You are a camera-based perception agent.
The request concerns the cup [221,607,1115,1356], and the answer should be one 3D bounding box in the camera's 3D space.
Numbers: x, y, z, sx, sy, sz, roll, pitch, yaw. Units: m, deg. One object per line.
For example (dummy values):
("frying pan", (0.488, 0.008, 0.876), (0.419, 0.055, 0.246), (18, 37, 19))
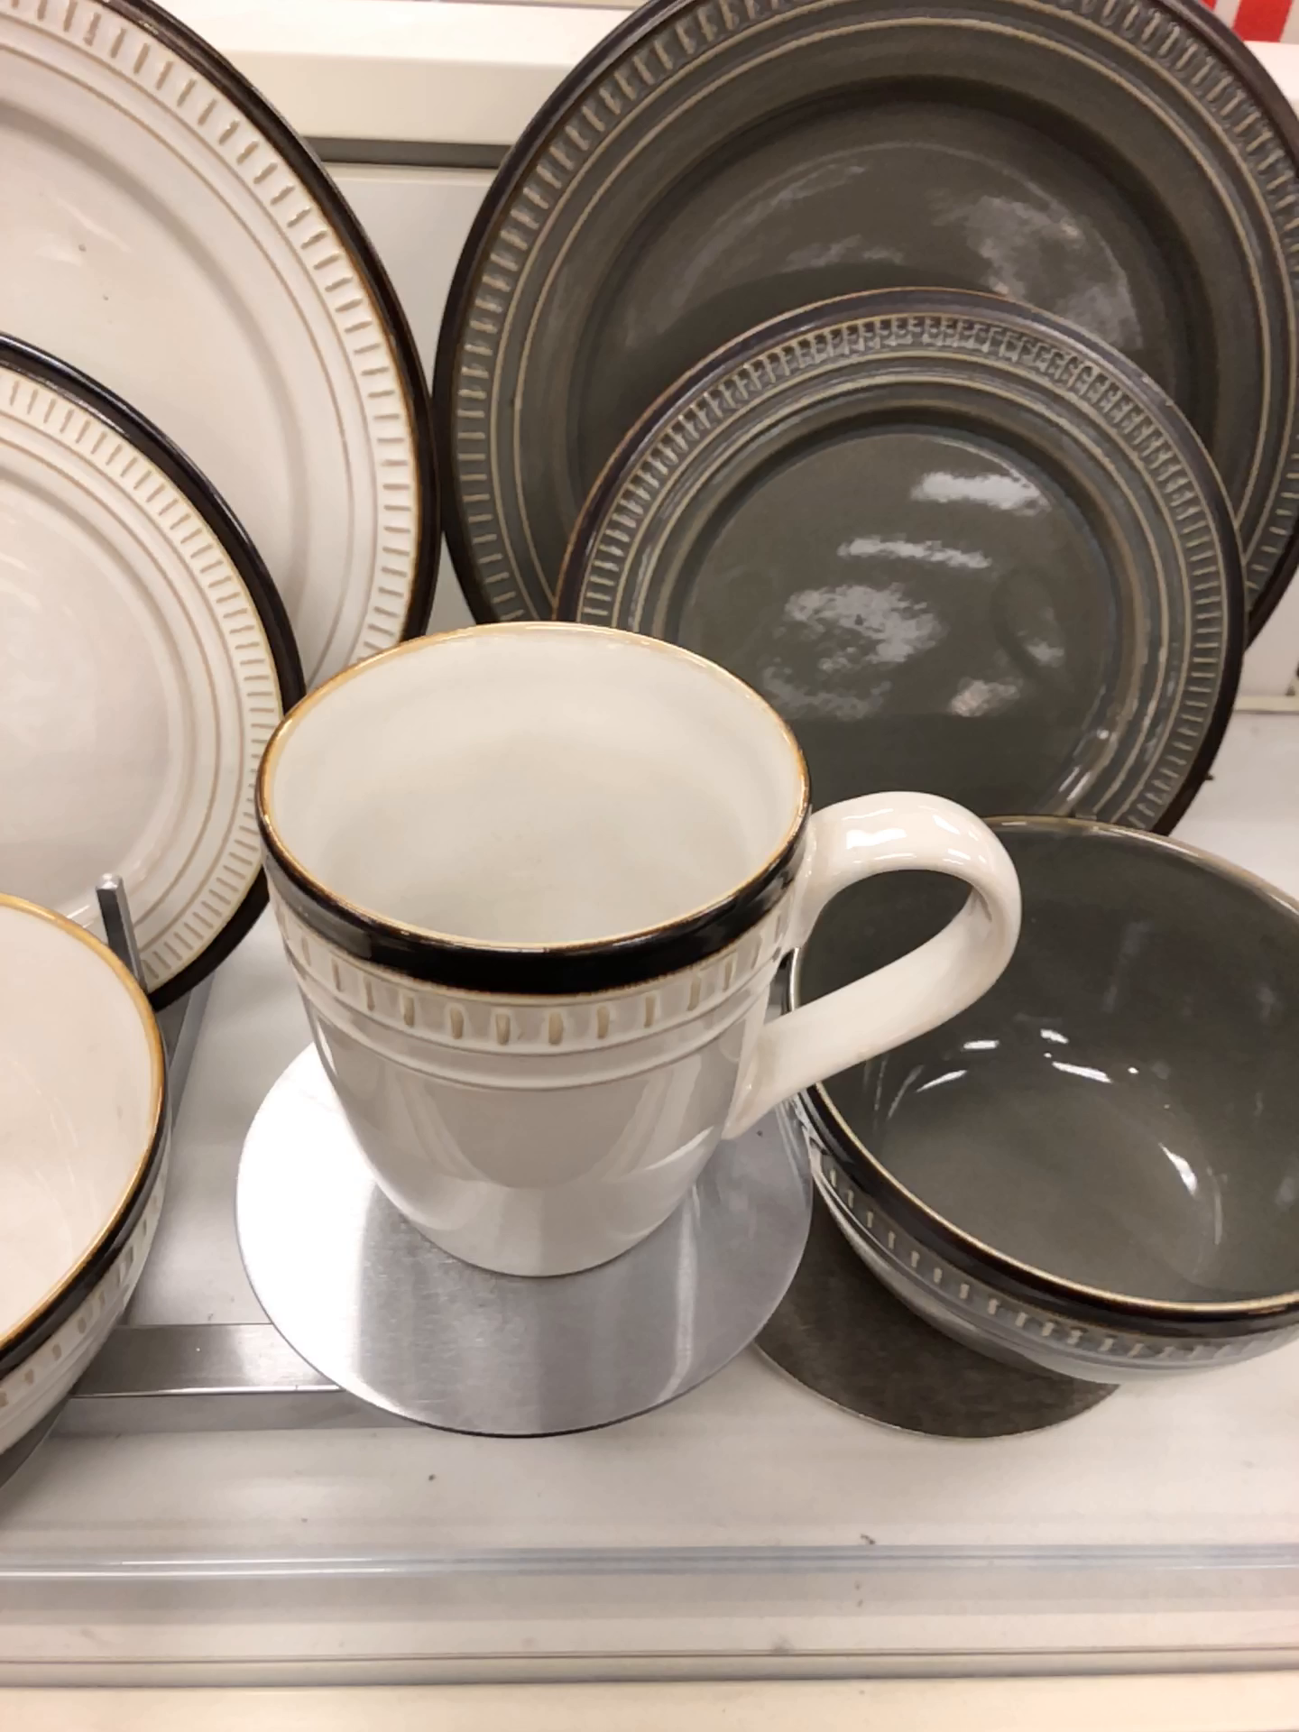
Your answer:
("cup", (-0.003, 0.019, 0.271), (0.128, 0.097, 0.092), (-2, 41, -7))
